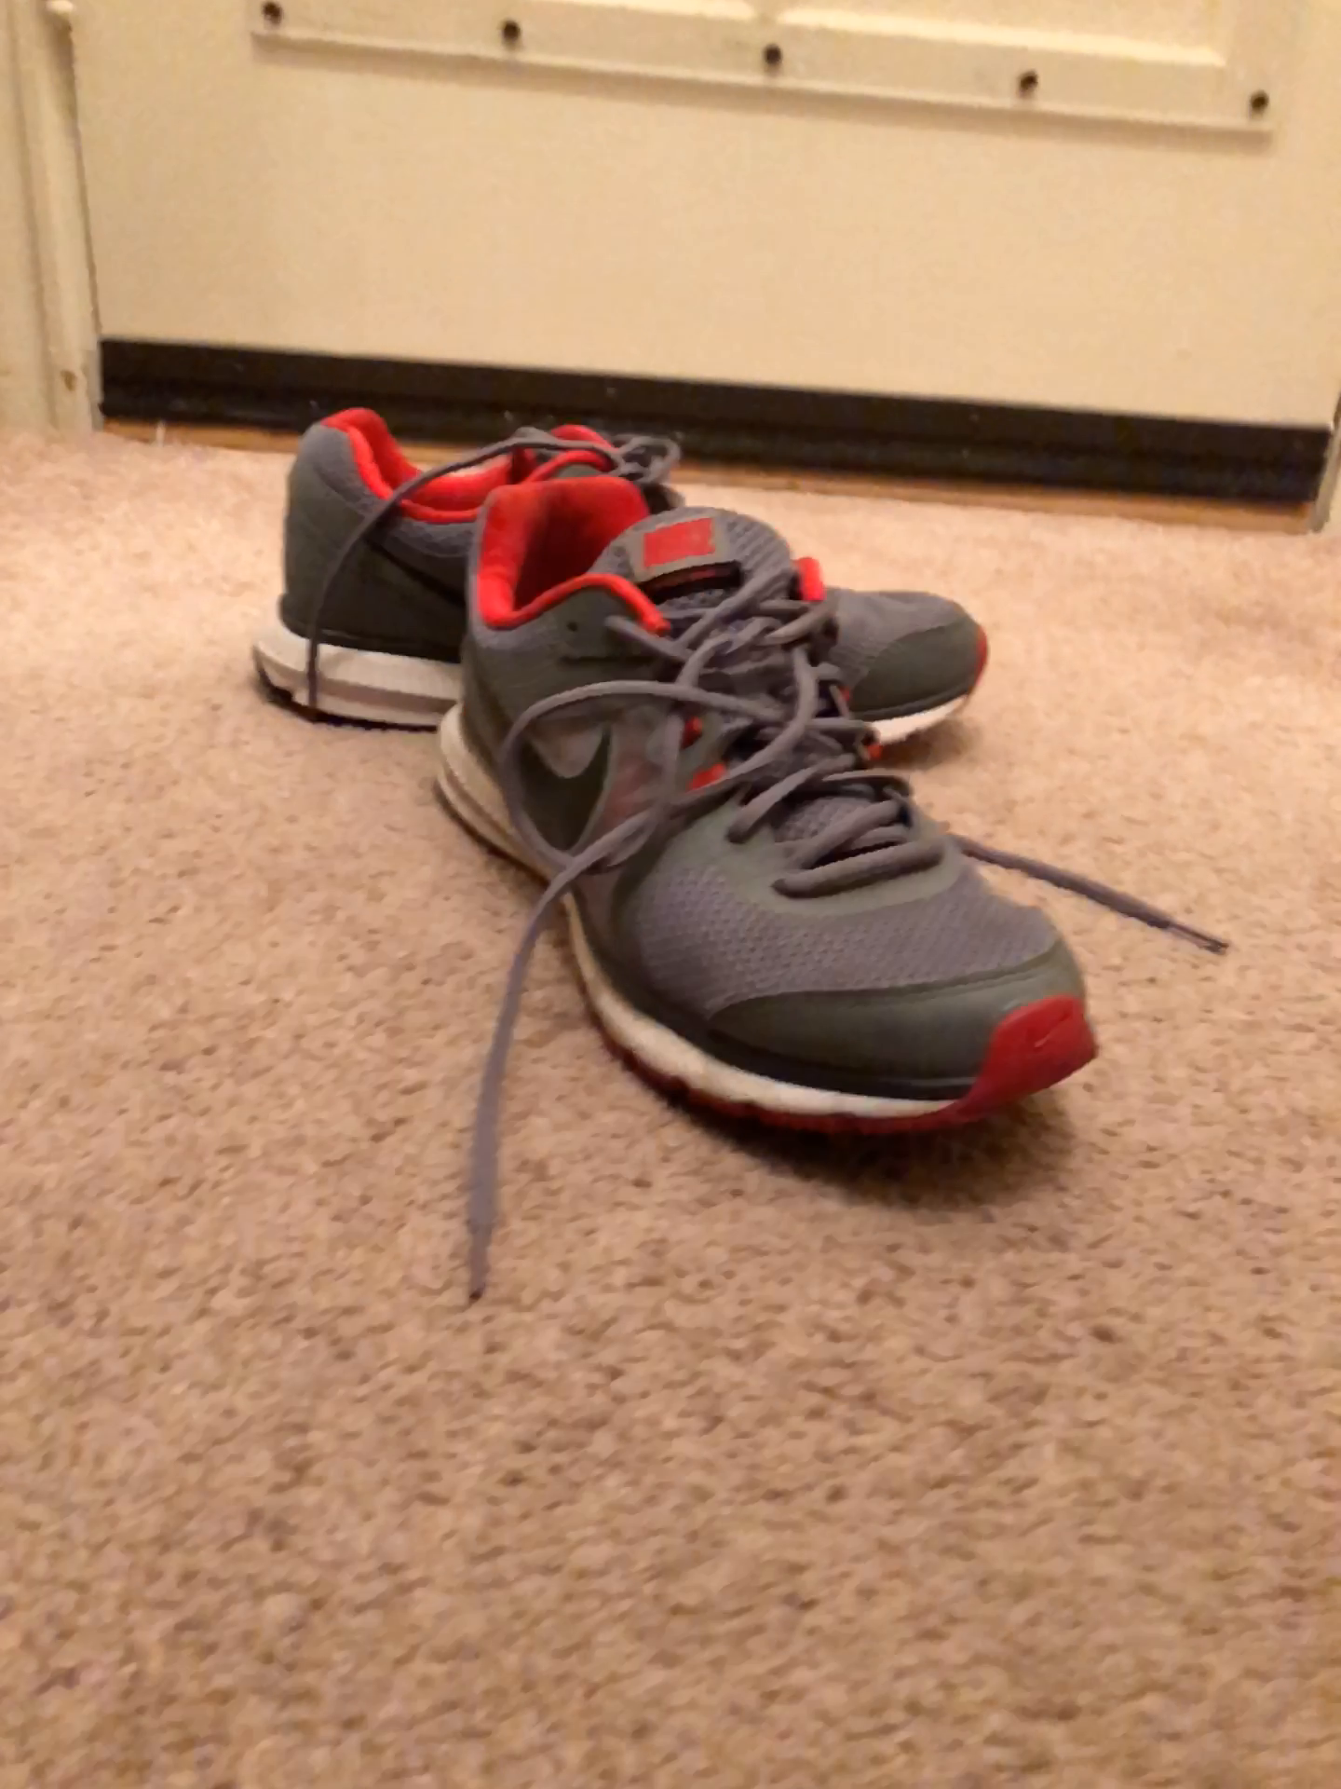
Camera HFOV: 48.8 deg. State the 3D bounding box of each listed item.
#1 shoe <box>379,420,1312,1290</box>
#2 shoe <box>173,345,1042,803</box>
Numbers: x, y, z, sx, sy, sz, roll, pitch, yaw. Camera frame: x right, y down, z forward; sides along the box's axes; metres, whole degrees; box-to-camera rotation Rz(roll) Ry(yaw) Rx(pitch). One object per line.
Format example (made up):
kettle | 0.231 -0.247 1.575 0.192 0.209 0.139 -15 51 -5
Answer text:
shoe | 0.015 -0.044 0.435 0.113 0.119 0.298 -10 33 -26
shoe | -0.023 -0.130 0.581 0.297 0.119 0.114 6 29 1
